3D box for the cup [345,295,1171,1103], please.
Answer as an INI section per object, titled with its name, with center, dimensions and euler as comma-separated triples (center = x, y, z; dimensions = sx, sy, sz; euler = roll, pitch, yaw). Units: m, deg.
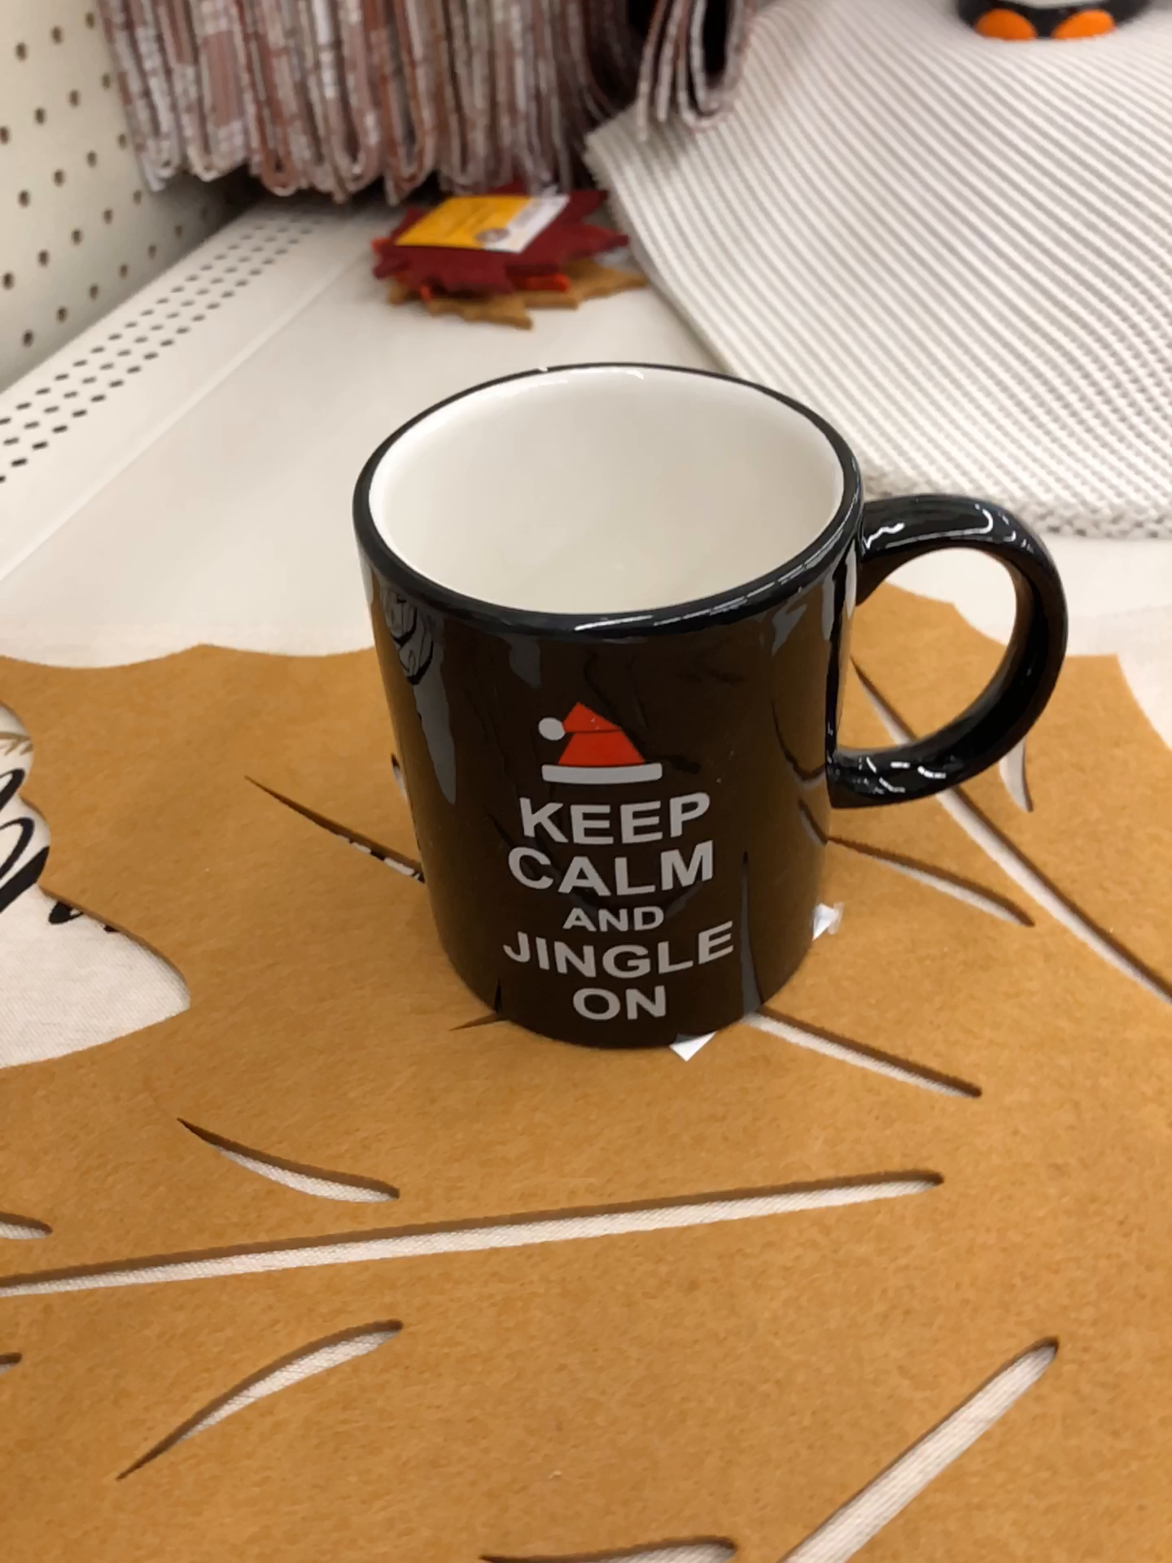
[cup]
center = 0.029, -0.017, 0.262
dimensions = 0.130, 0.110, 0.090
euler = -9, 43, -6
